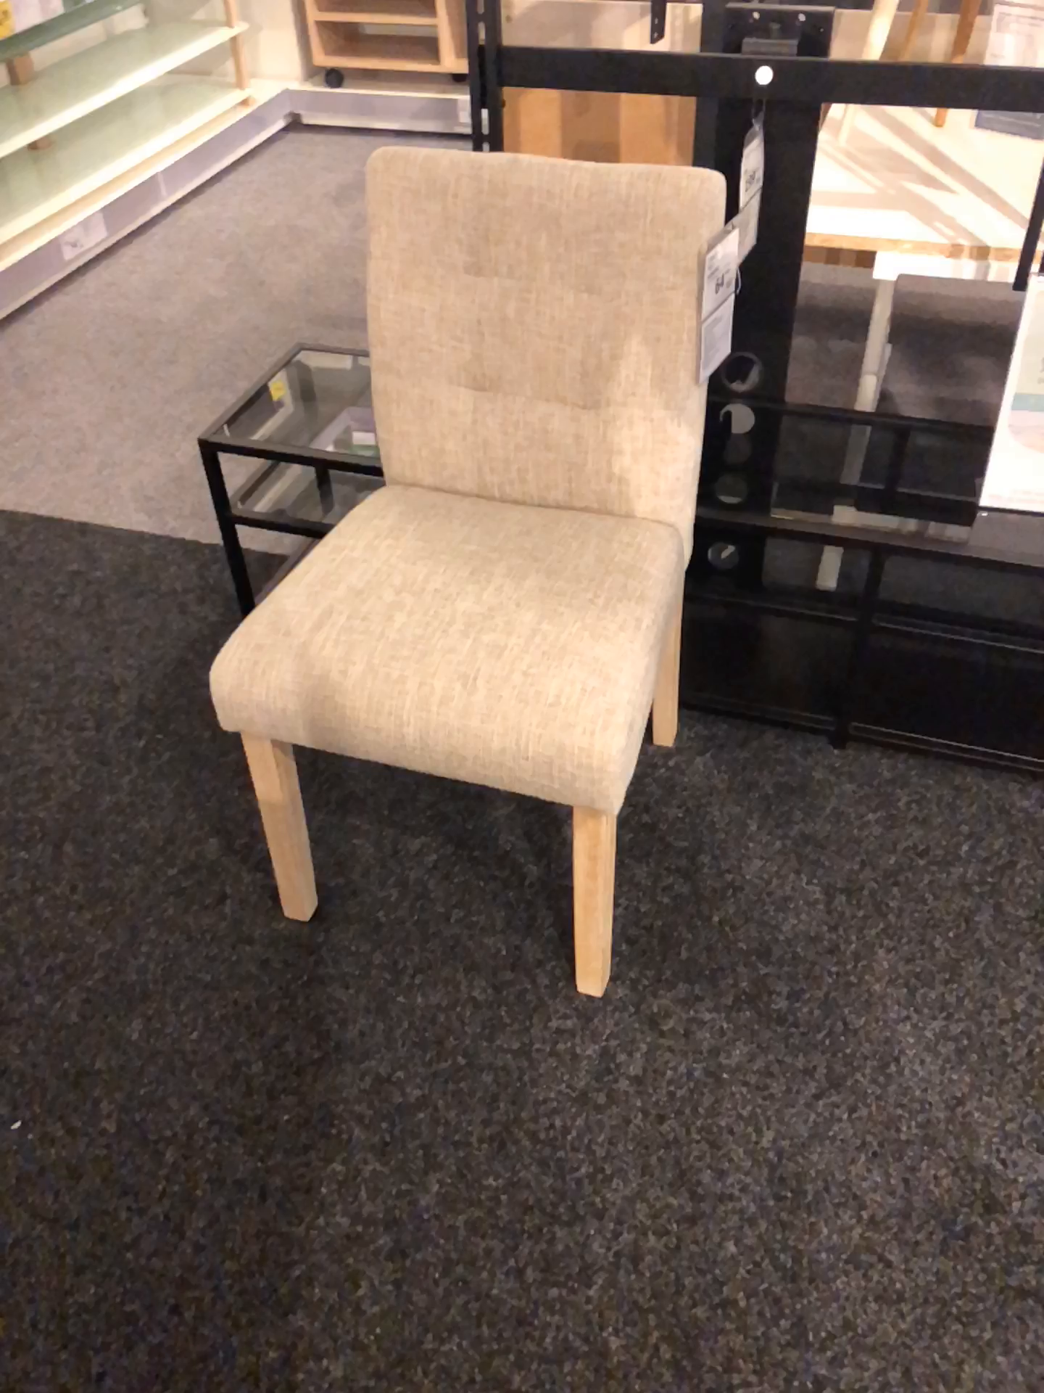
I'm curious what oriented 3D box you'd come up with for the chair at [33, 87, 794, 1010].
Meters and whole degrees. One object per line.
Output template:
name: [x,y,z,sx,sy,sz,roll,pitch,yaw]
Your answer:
chair: [-0.050,-0.170,1.375,0.550,0.855,0.564,12,44,15]
